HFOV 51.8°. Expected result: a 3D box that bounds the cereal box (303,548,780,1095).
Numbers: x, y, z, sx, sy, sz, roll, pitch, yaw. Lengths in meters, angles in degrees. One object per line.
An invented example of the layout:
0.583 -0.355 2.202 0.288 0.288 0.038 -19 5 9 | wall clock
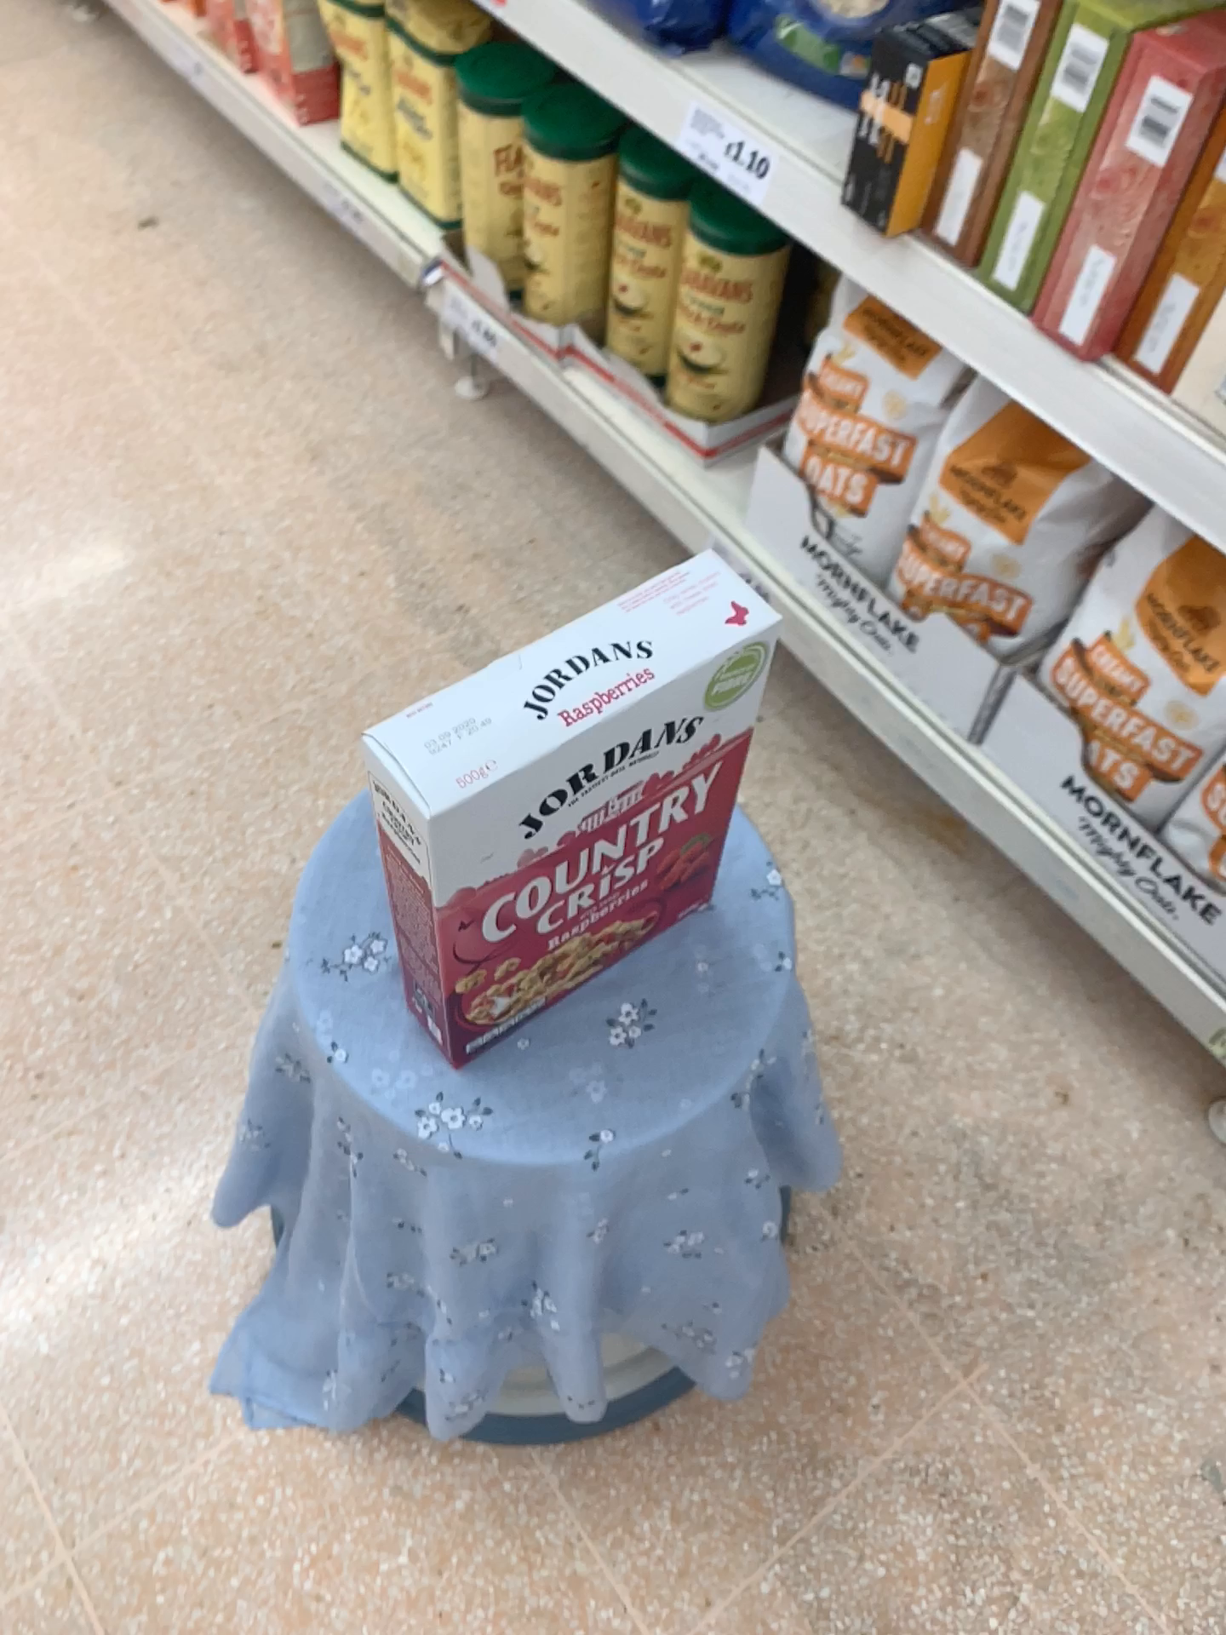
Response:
-0.037 0.016 0.640 0.201 0.268 0.060 -29 65 -22 | cereal box
